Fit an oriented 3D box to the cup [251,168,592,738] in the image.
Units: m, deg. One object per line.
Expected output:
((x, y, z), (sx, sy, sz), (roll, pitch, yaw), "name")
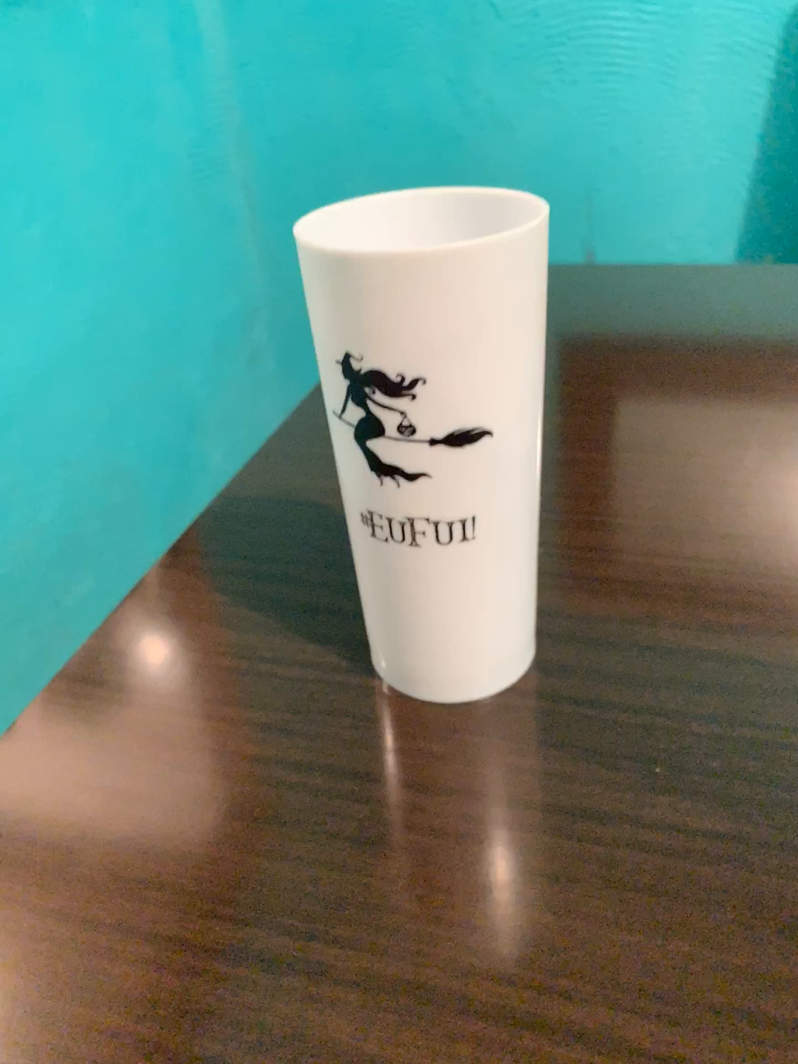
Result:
((0.015, -0.022, 0.253), (0.070, 0.149, 0.070), (-4, 33, 2), "cup")
